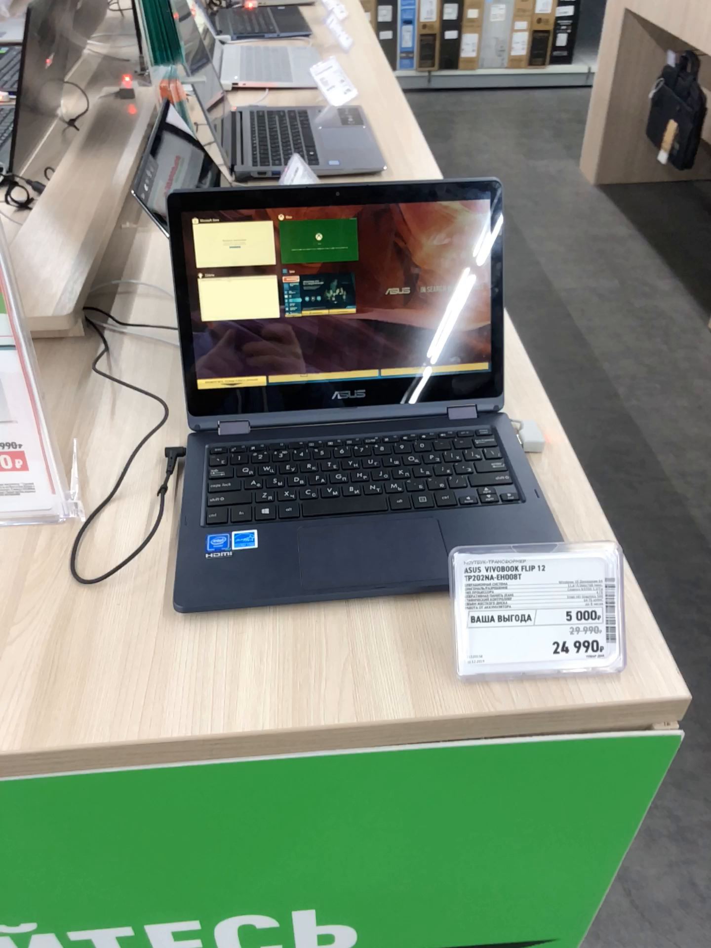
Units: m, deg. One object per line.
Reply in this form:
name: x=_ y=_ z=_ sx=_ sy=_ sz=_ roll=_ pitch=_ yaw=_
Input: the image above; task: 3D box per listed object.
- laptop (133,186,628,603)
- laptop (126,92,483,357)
laptop: x=0.002 y=-0.077 z=0.582 sx=0.269 sy=0.166 sz=0.281 roll=-4 pitch=40 yaw=-6
laptop: x=-0.050 y=-0.267 z=0.806 sx=0.298 sy=0.162 sz=0.263 roll=-3 pitch=40 yaw=-5
